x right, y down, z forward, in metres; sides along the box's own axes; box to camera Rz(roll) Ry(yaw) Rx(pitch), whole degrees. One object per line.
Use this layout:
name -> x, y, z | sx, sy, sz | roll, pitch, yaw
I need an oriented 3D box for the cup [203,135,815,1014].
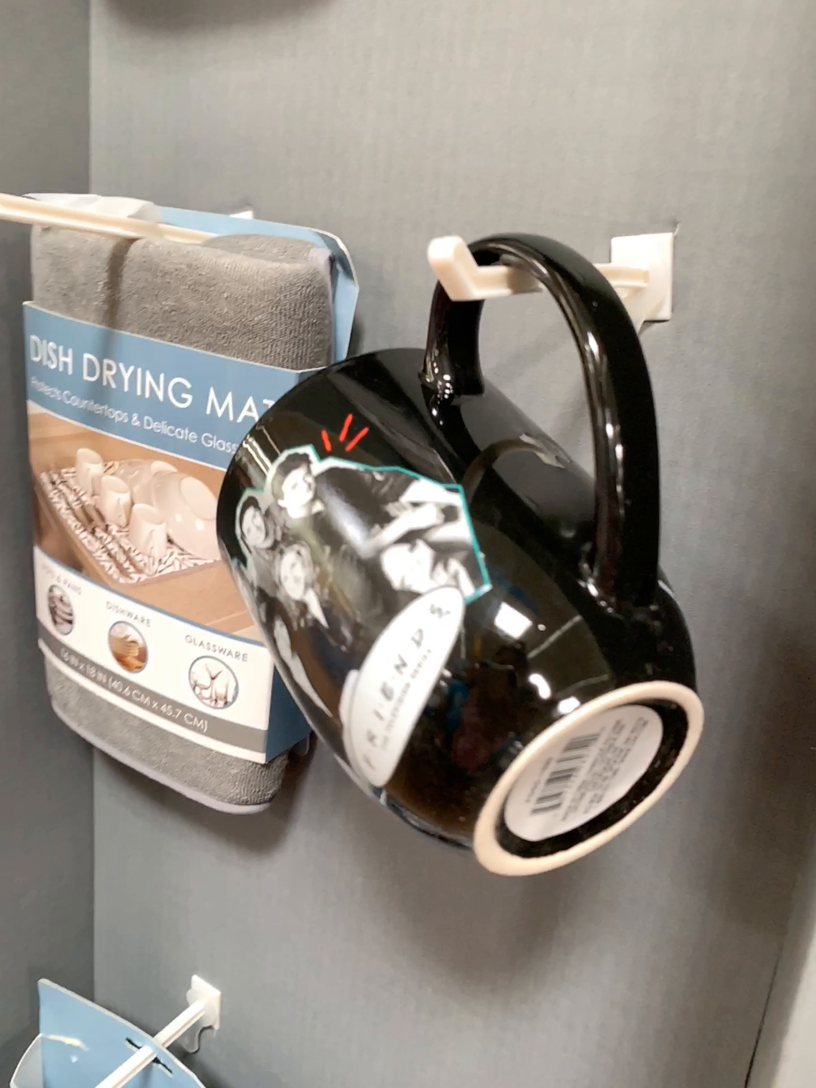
cup -> 0.022, 0.000, 0.187 | 0.086, 0.127, 0.116 | -3, 37, -31
